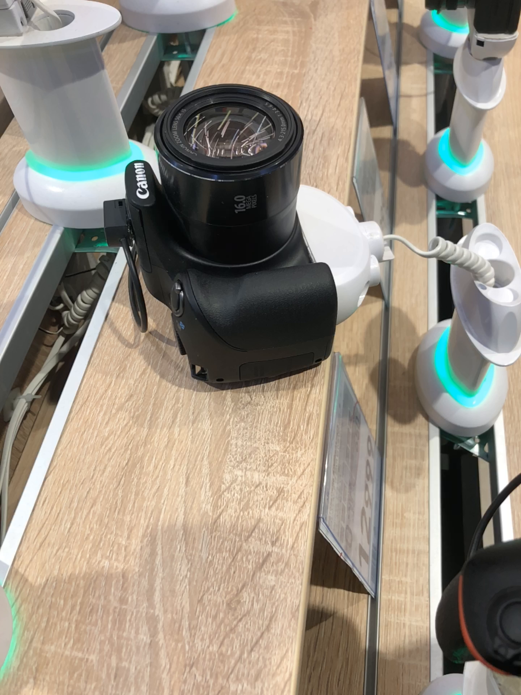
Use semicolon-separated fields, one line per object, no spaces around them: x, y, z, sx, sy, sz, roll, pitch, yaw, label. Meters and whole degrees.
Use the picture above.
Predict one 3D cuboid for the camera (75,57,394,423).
-0.020;-0.054;0.275;0.106;0.090;0.134;-10;55;-9;camera
